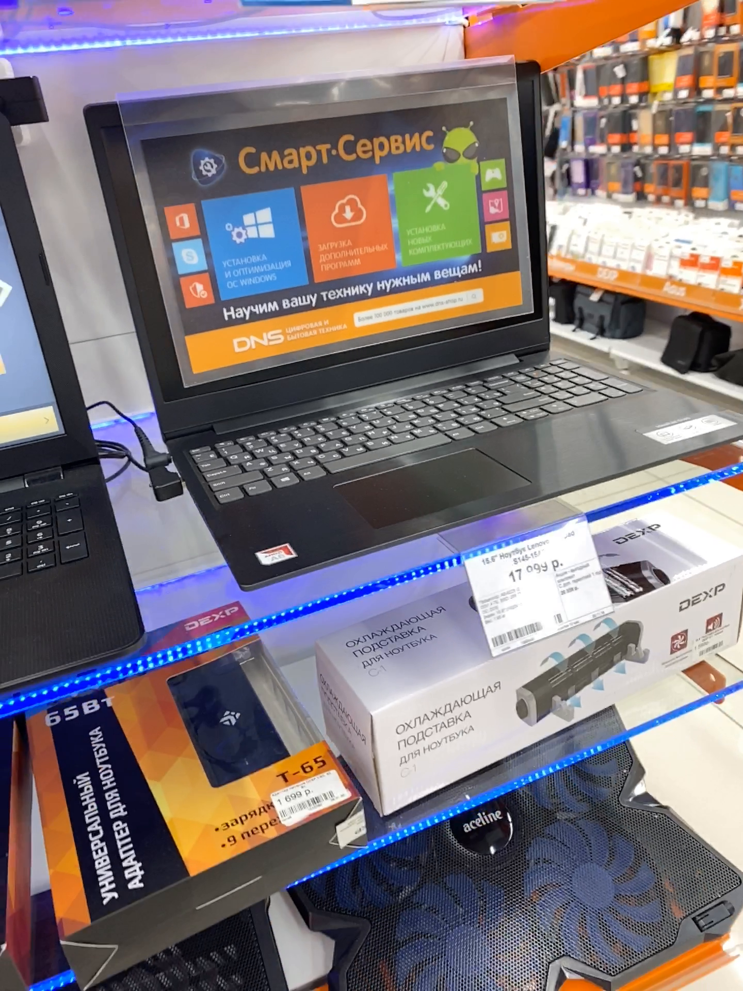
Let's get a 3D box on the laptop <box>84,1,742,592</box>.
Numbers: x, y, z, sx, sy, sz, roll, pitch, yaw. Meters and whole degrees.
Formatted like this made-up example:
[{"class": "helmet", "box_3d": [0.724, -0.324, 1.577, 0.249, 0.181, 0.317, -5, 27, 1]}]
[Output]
[{"class": "laptop", "box_3d": [0.034, -0.152, 0.500, 0.357, 0.236, 0.267, -16, 27, -19]}]
